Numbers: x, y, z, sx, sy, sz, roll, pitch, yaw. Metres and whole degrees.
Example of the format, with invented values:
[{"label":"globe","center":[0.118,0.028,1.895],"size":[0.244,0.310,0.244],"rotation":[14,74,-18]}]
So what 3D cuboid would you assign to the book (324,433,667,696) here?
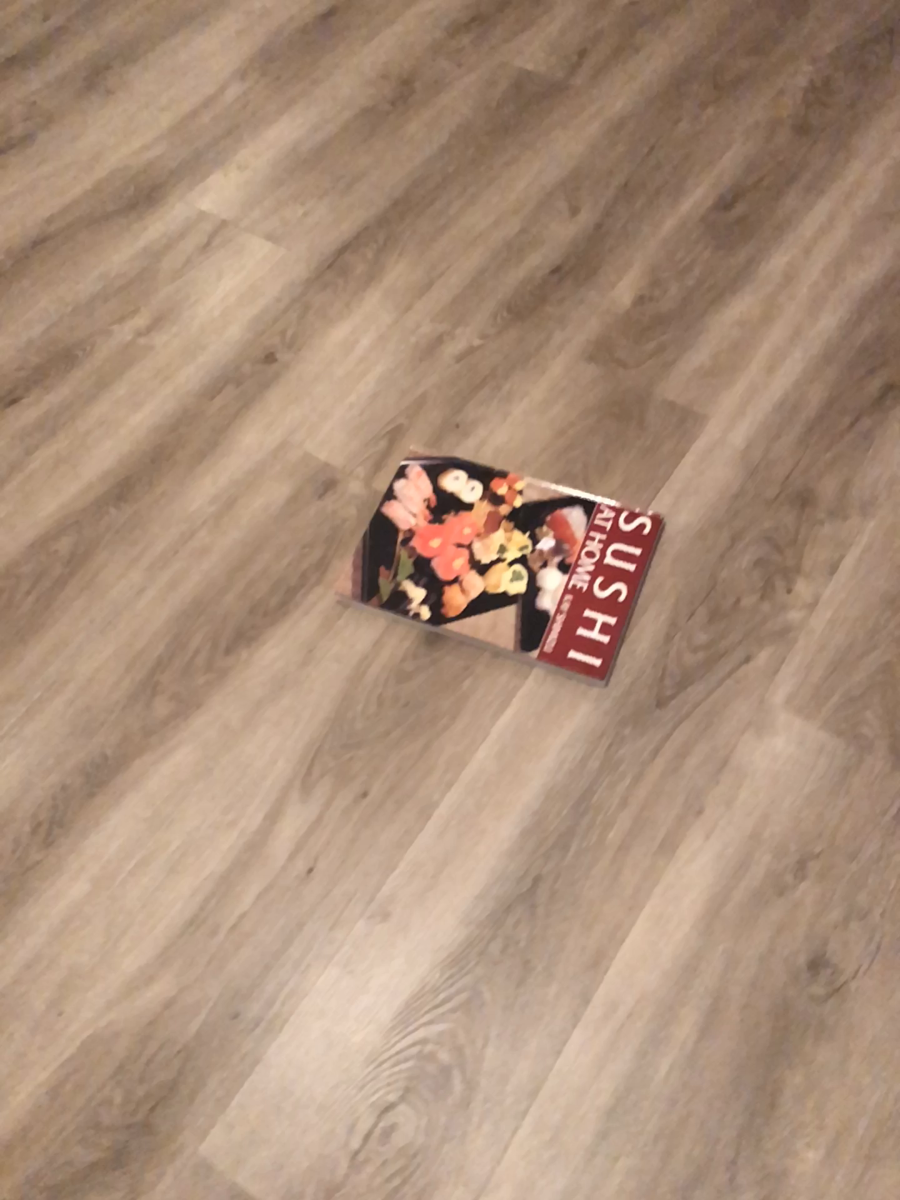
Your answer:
[{"label":"book","center":[0.044,-0.041,0.912],"size":[0.258,0.030,0.190],"rotation":[18,61,14]}]
